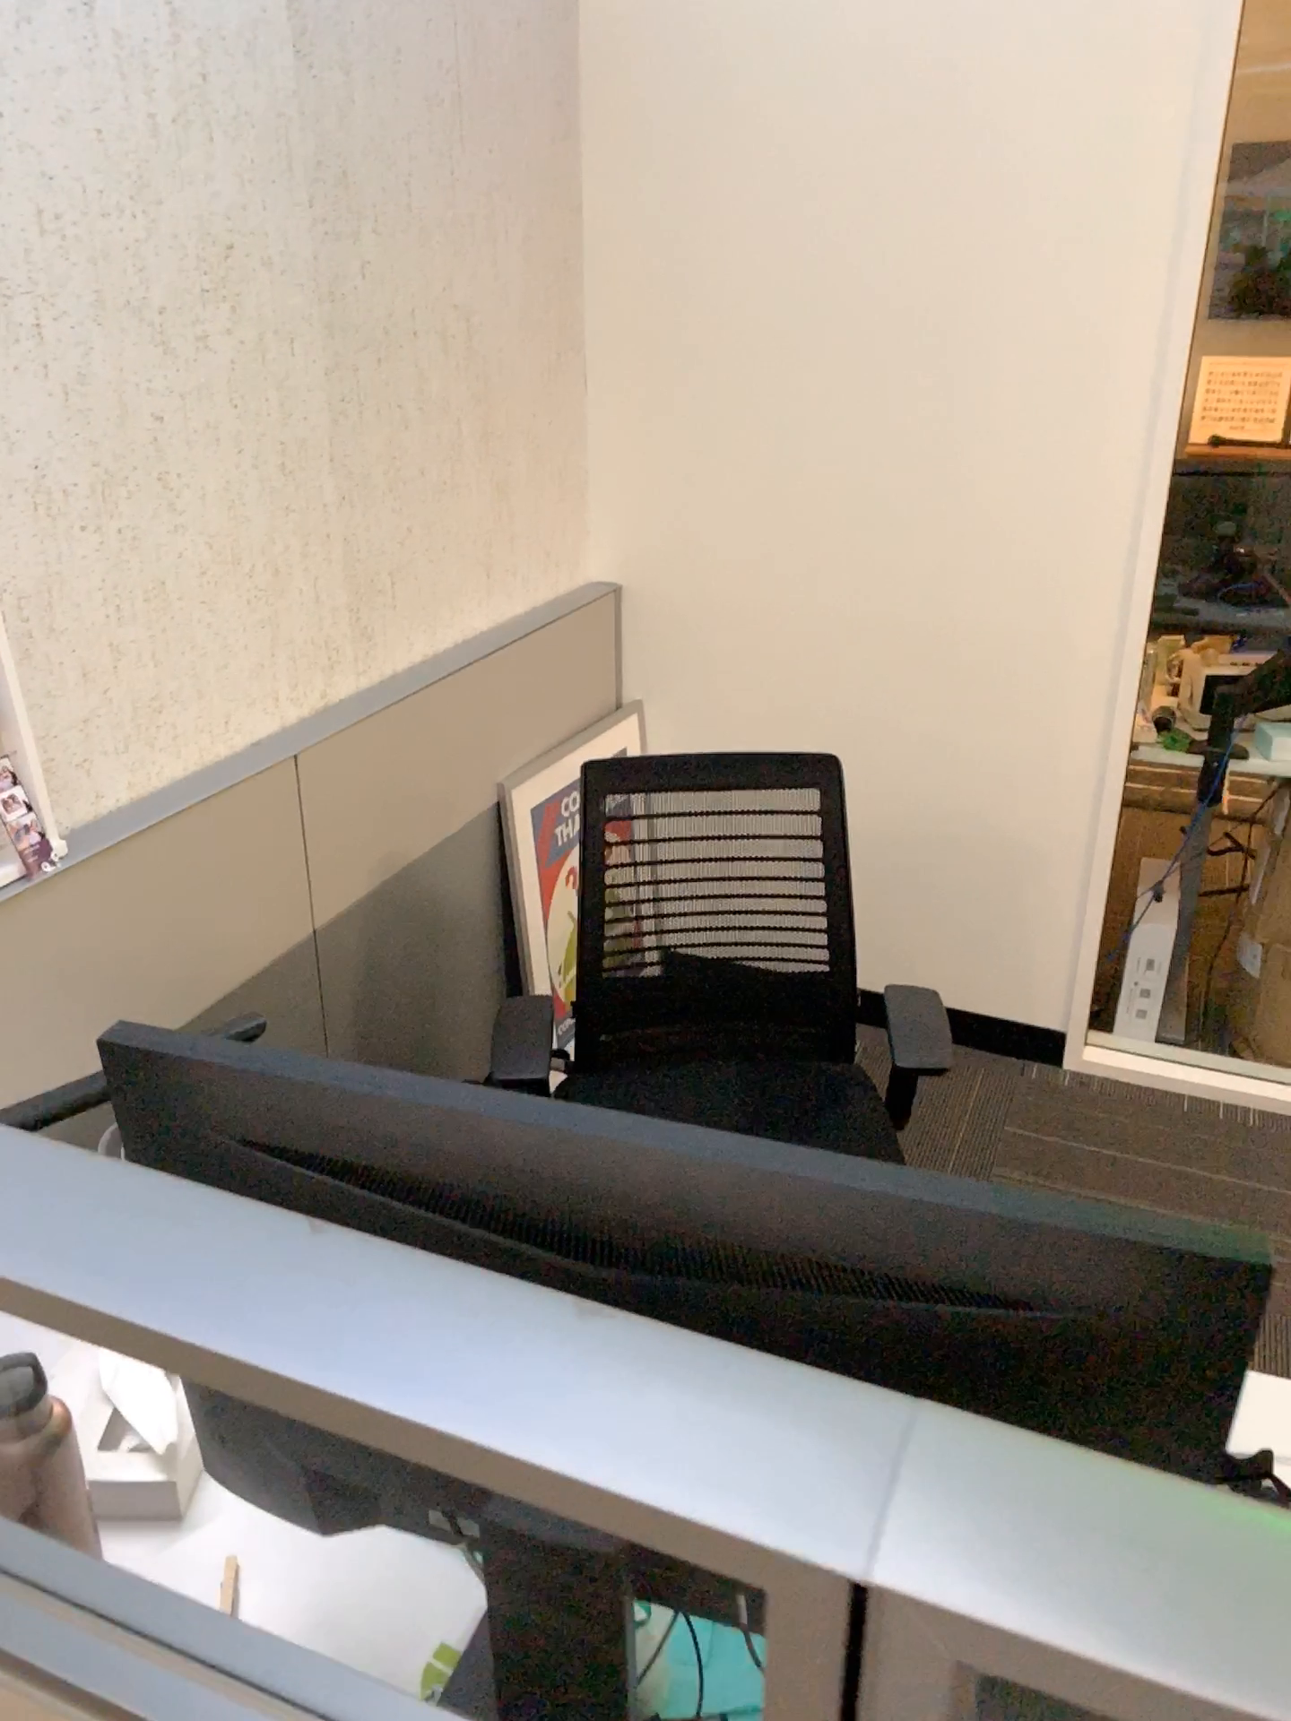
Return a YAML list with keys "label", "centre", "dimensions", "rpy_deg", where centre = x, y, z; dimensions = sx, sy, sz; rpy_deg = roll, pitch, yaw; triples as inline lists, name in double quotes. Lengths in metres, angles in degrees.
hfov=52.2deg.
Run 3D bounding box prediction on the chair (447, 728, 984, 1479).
- label: "chair"
  centre: [0.067, 0.357, 2.125]
  dimensions: [0.670, 0.955, 0.654]
  rpy_deg: [-2, 24, -4]
